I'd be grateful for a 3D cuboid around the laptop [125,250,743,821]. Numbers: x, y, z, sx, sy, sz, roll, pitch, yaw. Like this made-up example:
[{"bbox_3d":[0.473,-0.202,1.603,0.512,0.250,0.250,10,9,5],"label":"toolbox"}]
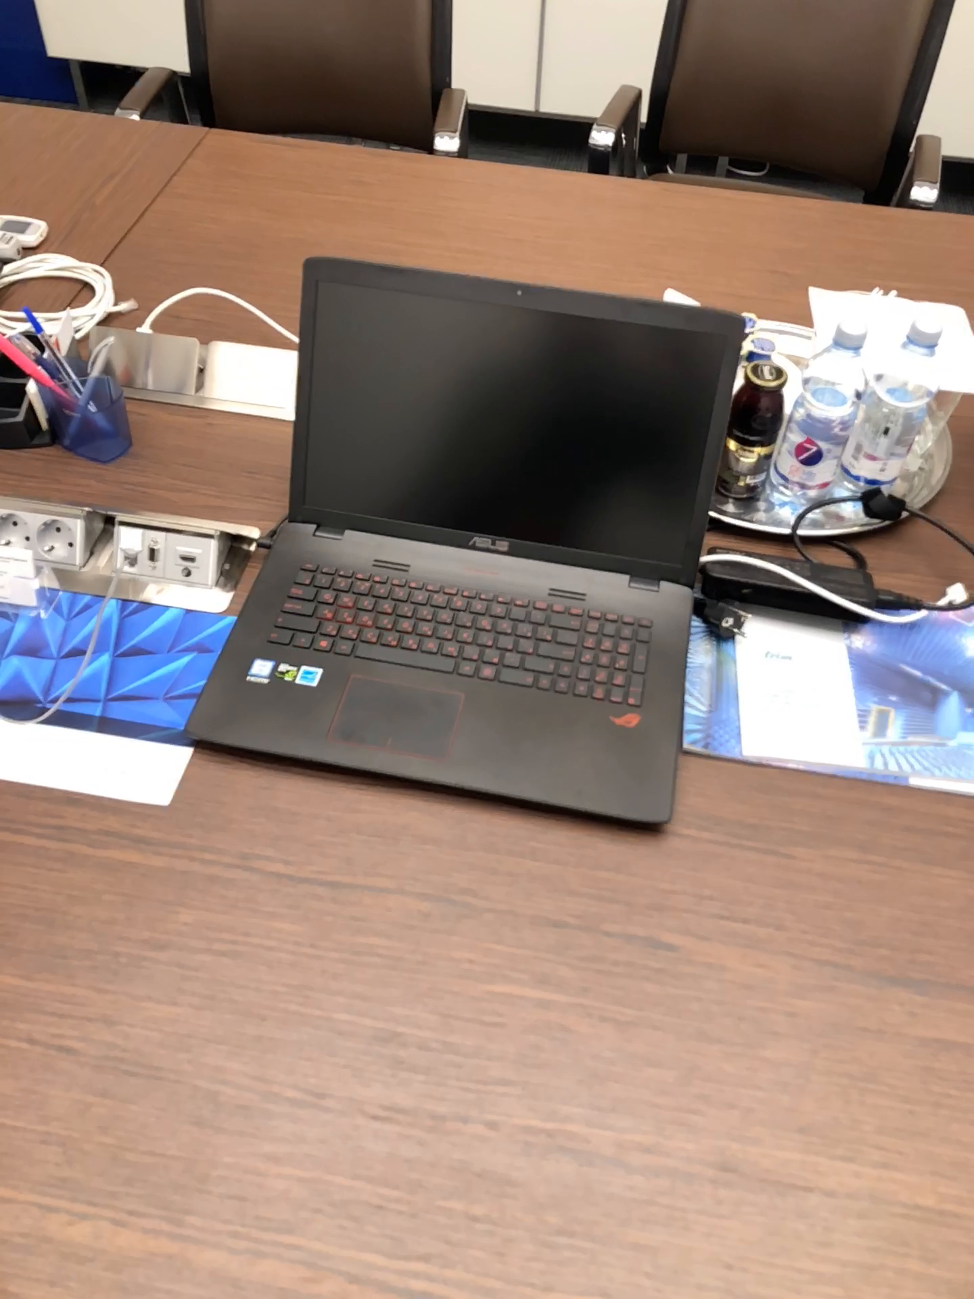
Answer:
[{"bbox_3d":[-0.013,-0.108,0.852,0.379,0.194,0.370,10,50,6],"label":"laptop"}]
